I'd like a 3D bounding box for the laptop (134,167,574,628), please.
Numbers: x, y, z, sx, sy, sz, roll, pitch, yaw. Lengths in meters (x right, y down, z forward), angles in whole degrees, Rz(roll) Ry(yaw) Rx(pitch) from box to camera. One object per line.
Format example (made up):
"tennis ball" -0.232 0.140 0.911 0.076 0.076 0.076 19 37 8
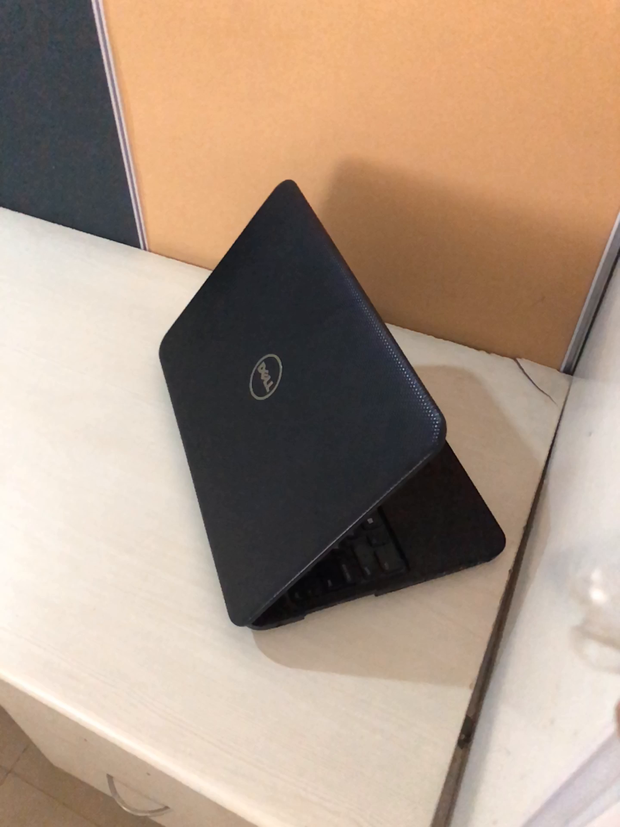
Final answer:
"laptop" 0.011 -0.040 0.630 0.254 0.179 0.354 -13 50 -14
